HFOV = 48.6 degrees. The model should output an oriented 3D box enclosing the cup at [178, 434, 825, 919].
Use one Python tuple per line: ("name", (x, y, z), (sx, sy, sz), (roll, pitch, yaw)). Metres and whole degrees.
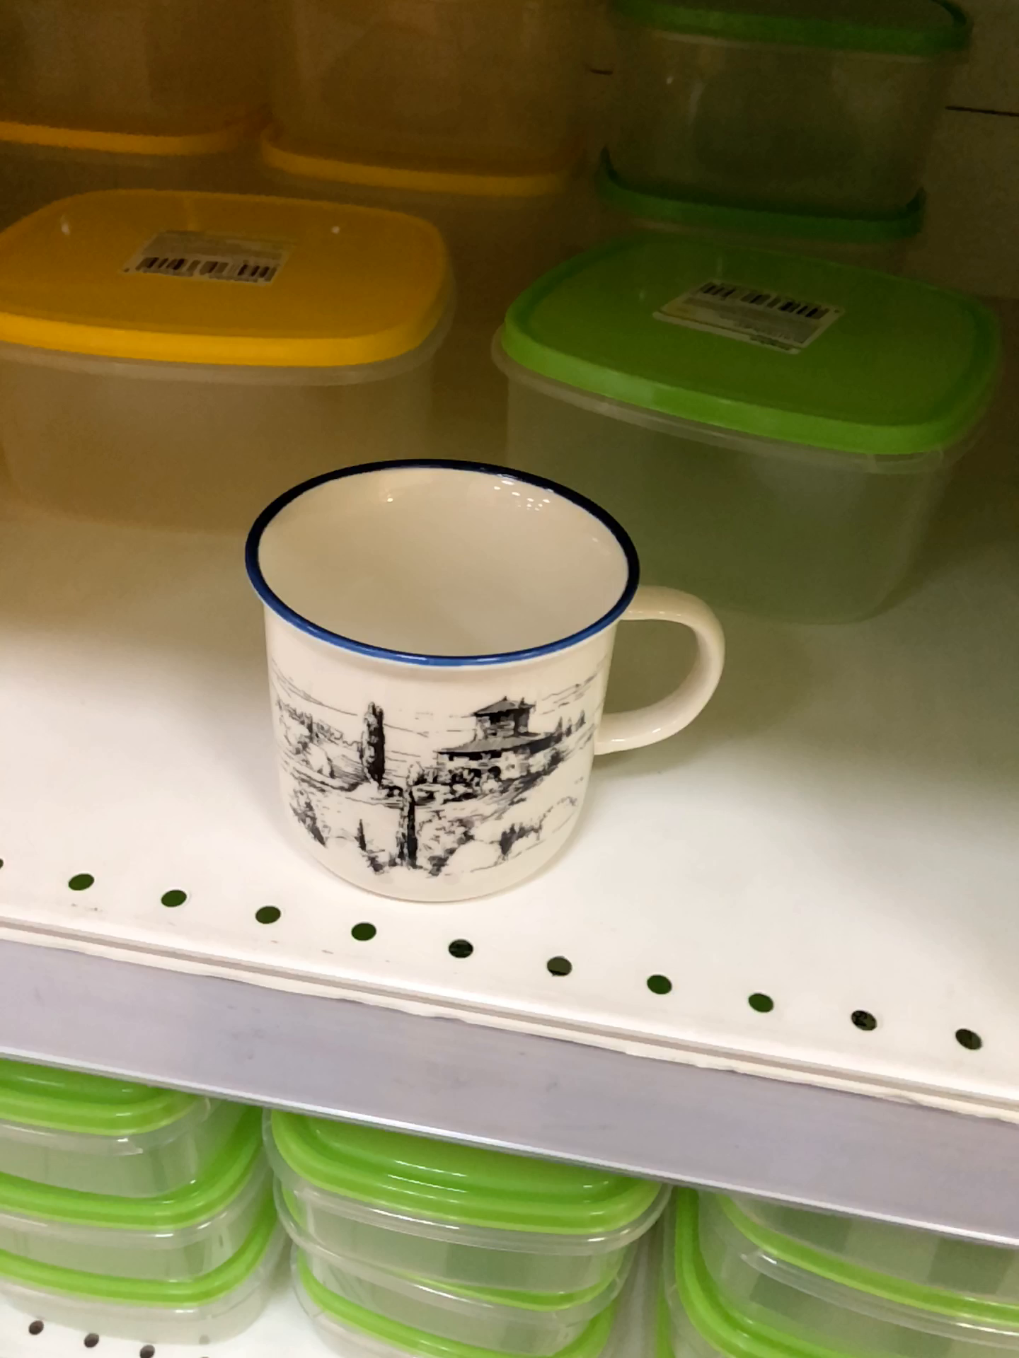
("cup", (-0.003, -0.004, 0.288), (0.130, 0.068, 0.103), (3, 38, -2))
